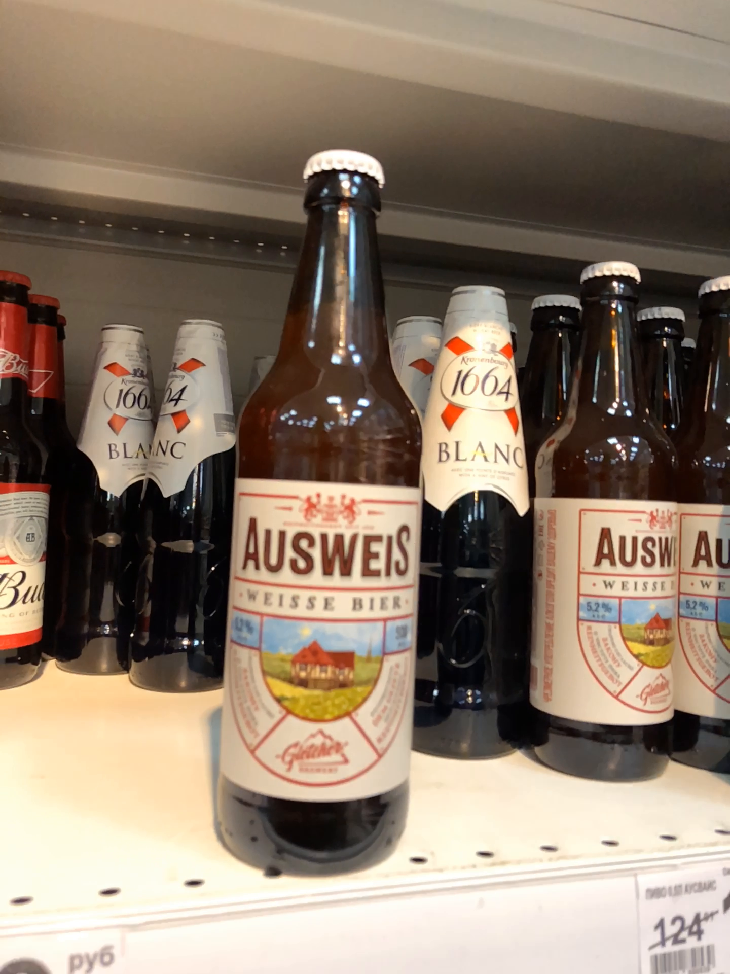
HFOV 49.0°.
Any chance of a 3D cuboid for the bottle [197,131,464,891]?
[{"bbox_3d":[-0.012,0.008,0.301,0.080,0.250,0.070,2,-2,-4],"label":"bottle"}]
